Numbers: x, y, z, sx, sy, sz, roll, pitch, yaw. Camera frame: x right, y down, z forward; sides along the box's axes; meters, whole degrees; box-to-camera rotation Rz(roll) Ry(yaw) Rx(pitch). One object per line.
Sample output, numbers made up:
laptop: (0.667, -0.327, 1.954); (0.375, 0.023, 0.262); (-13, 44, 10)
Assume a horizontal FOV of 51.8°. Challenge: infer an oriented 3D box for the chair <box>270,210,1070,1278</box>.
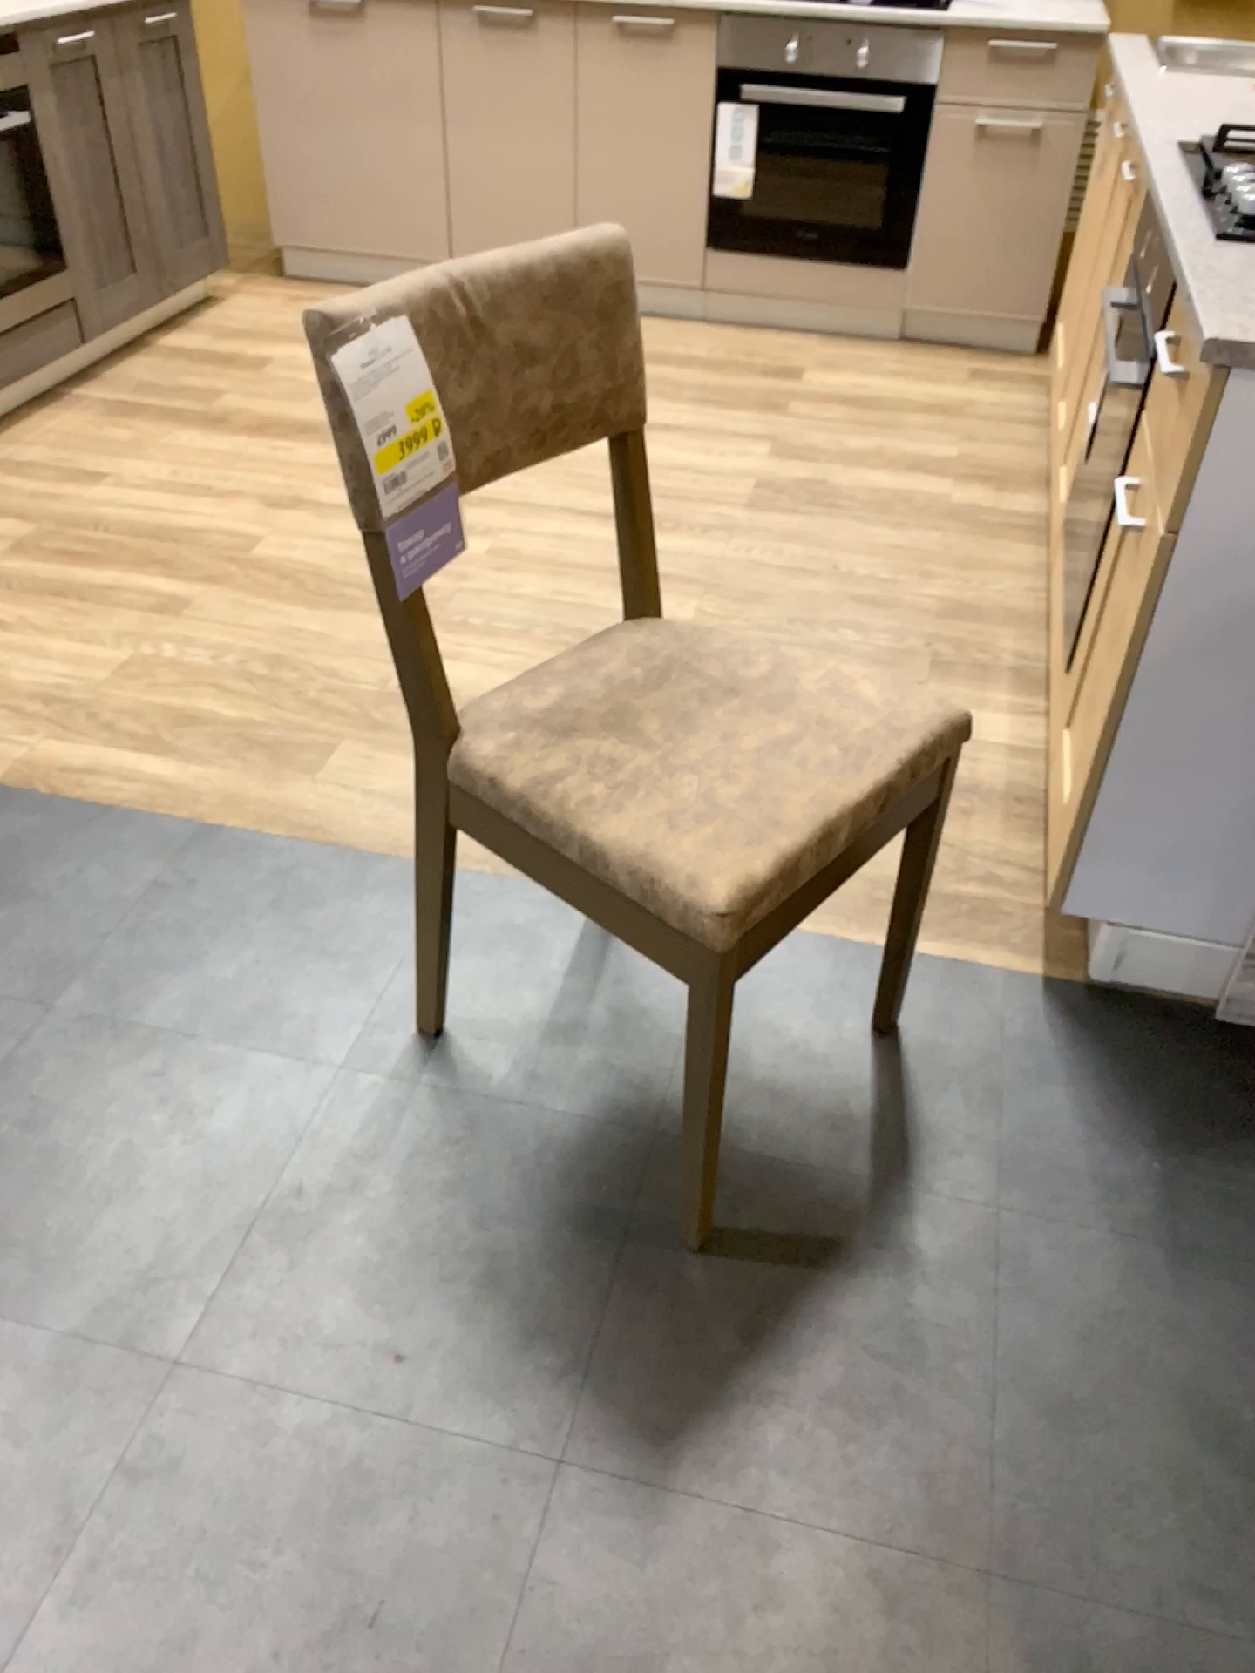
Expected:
chair: (0.031, -0.098, 1.407); (0.511, 0.925, 0.482); (28, 44, 29)
